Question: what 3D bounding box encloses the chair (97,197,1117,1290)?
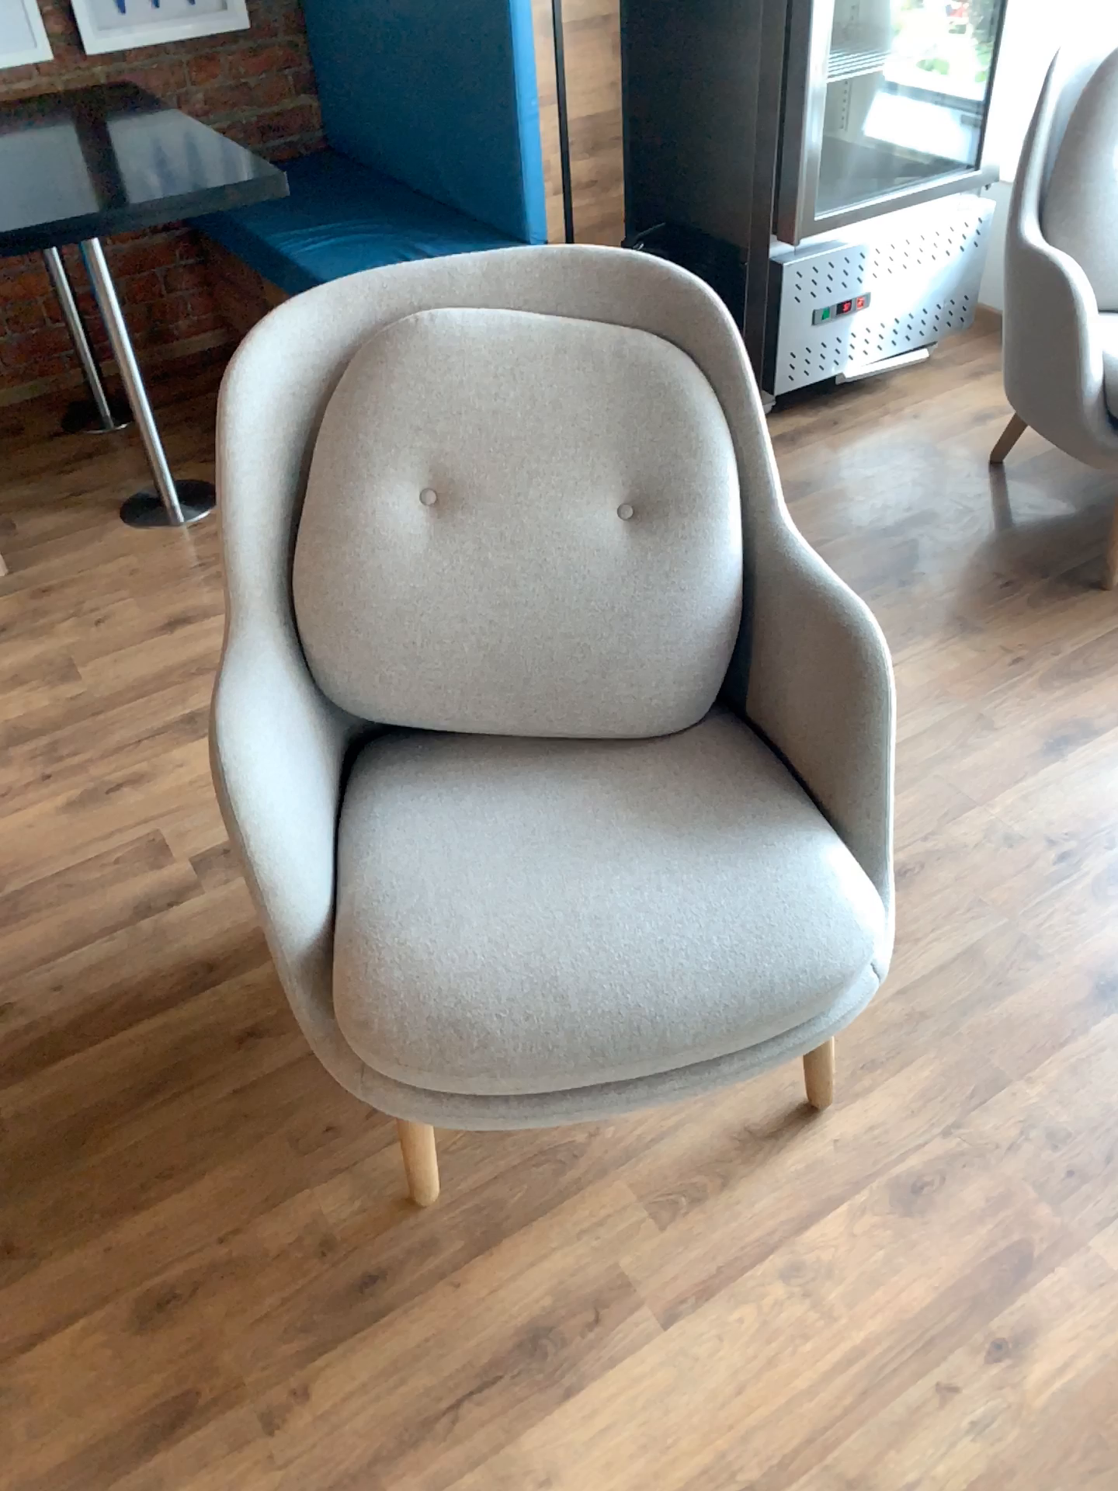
[{"bbox_3d":[-0.010,-0.040,1.318,0.750,0.833,0.746,-14,41,-11],"label":"chair"}]
